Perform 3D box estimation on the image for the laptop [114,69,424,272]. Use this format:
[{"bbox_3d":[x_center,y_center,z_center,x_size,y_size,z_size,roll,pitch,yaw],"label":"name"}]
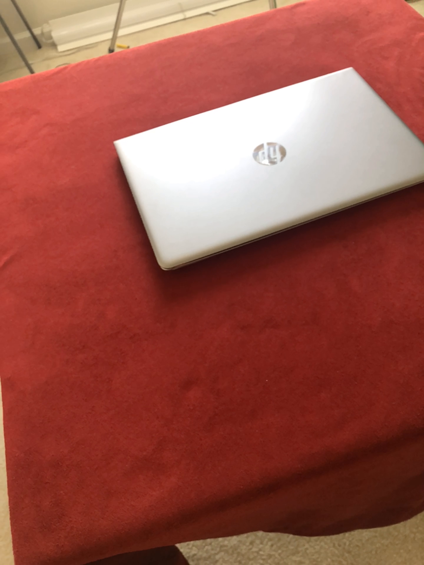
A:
[{"bbox_3d":[0.075,-0.168,0.632,0.372,0.006,0.234,-20,58,-7],"label":"laptop"}]
